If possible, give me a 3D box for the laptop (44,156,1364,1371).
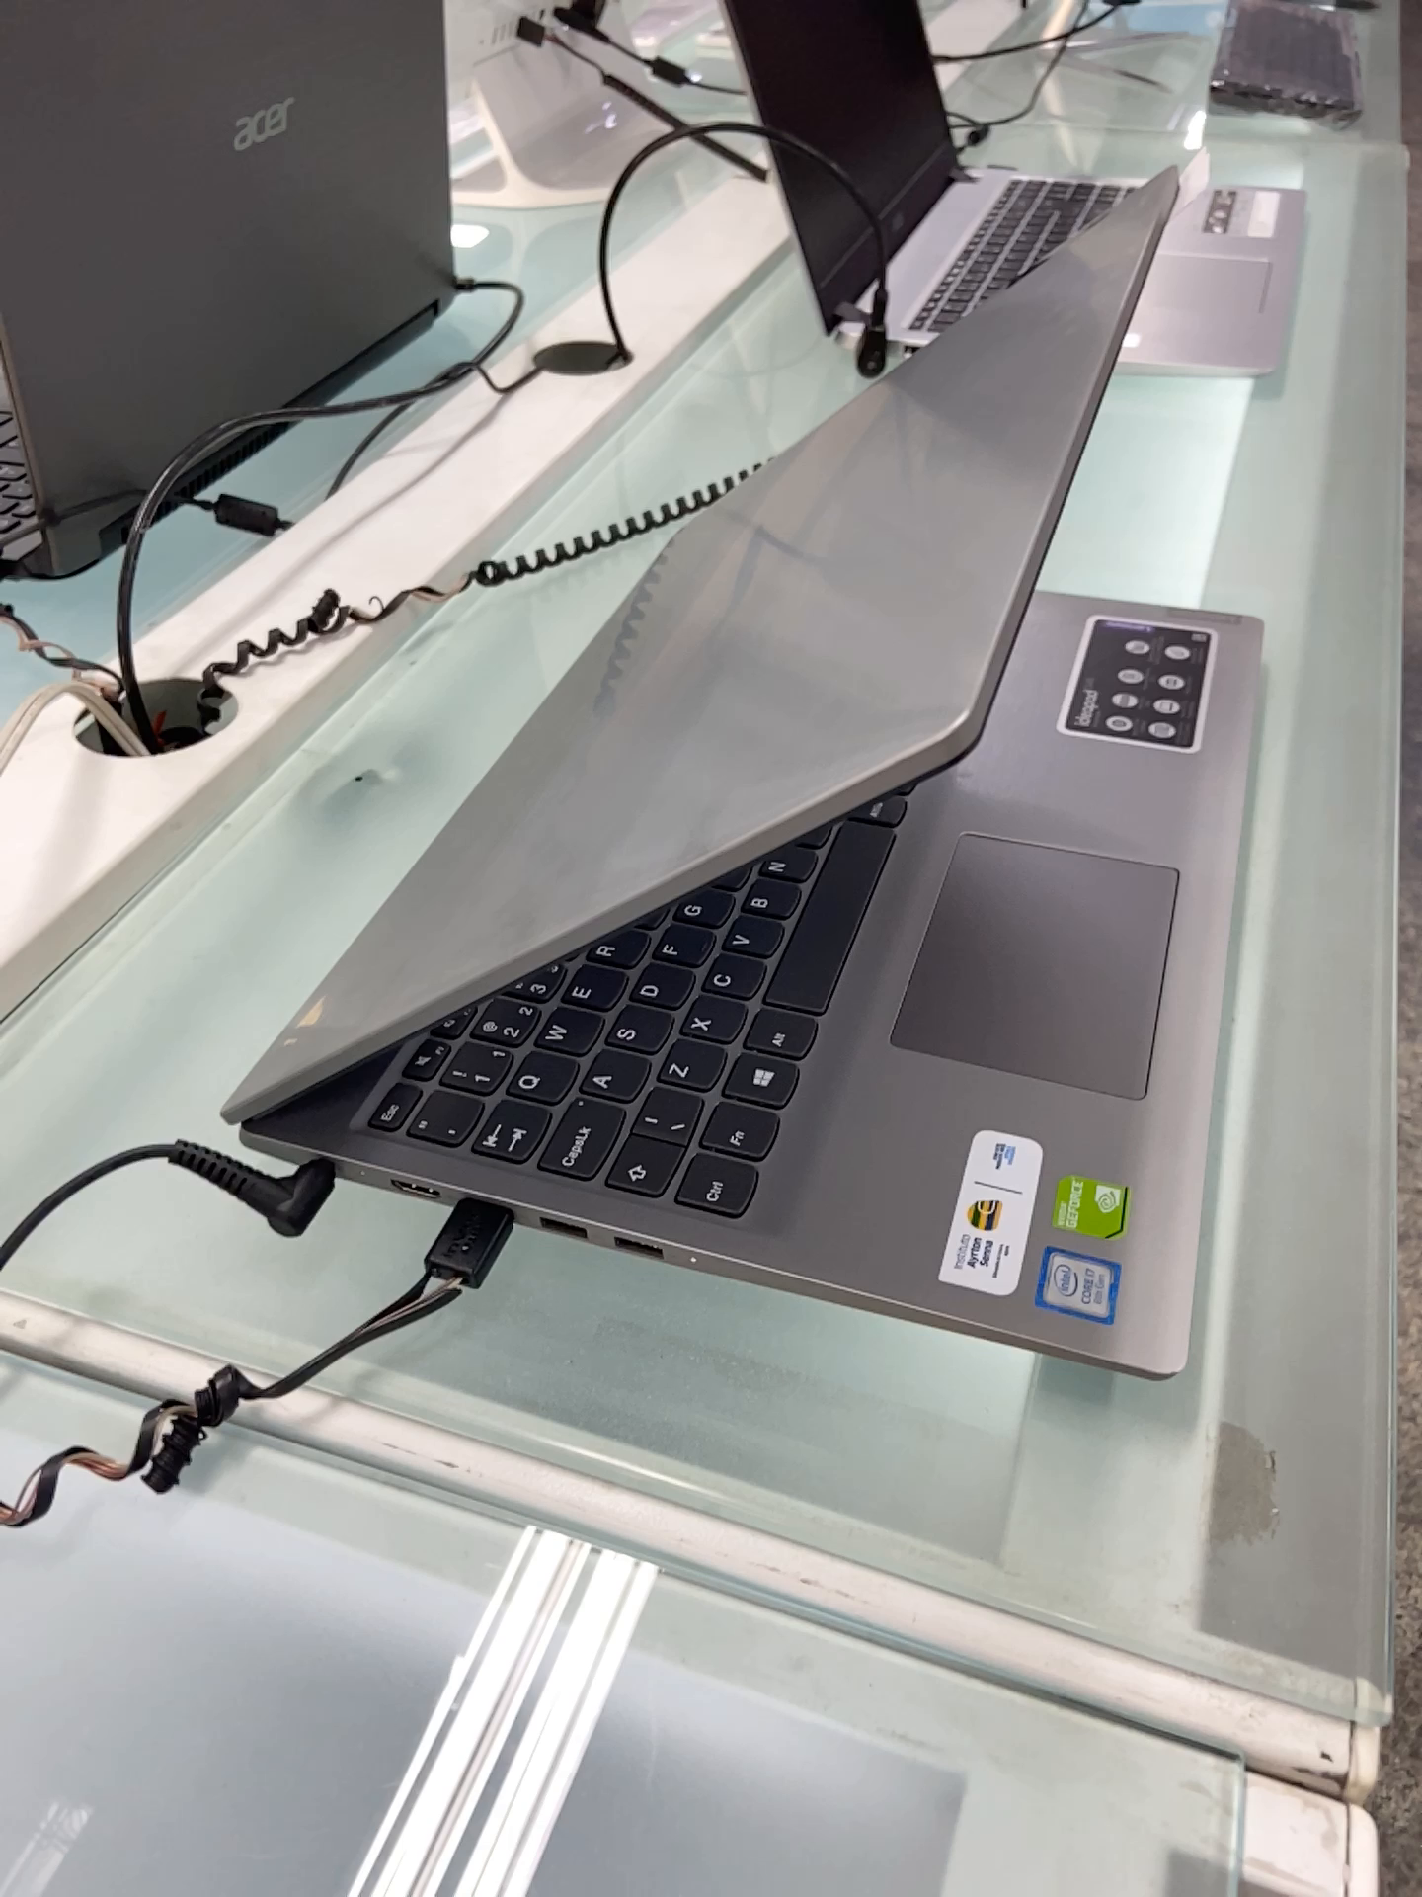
[{"bbox_3d":[0.043,-0.102,0.440,0.245,0.160,0.364,11,42,15],"label":"laptop"}]
